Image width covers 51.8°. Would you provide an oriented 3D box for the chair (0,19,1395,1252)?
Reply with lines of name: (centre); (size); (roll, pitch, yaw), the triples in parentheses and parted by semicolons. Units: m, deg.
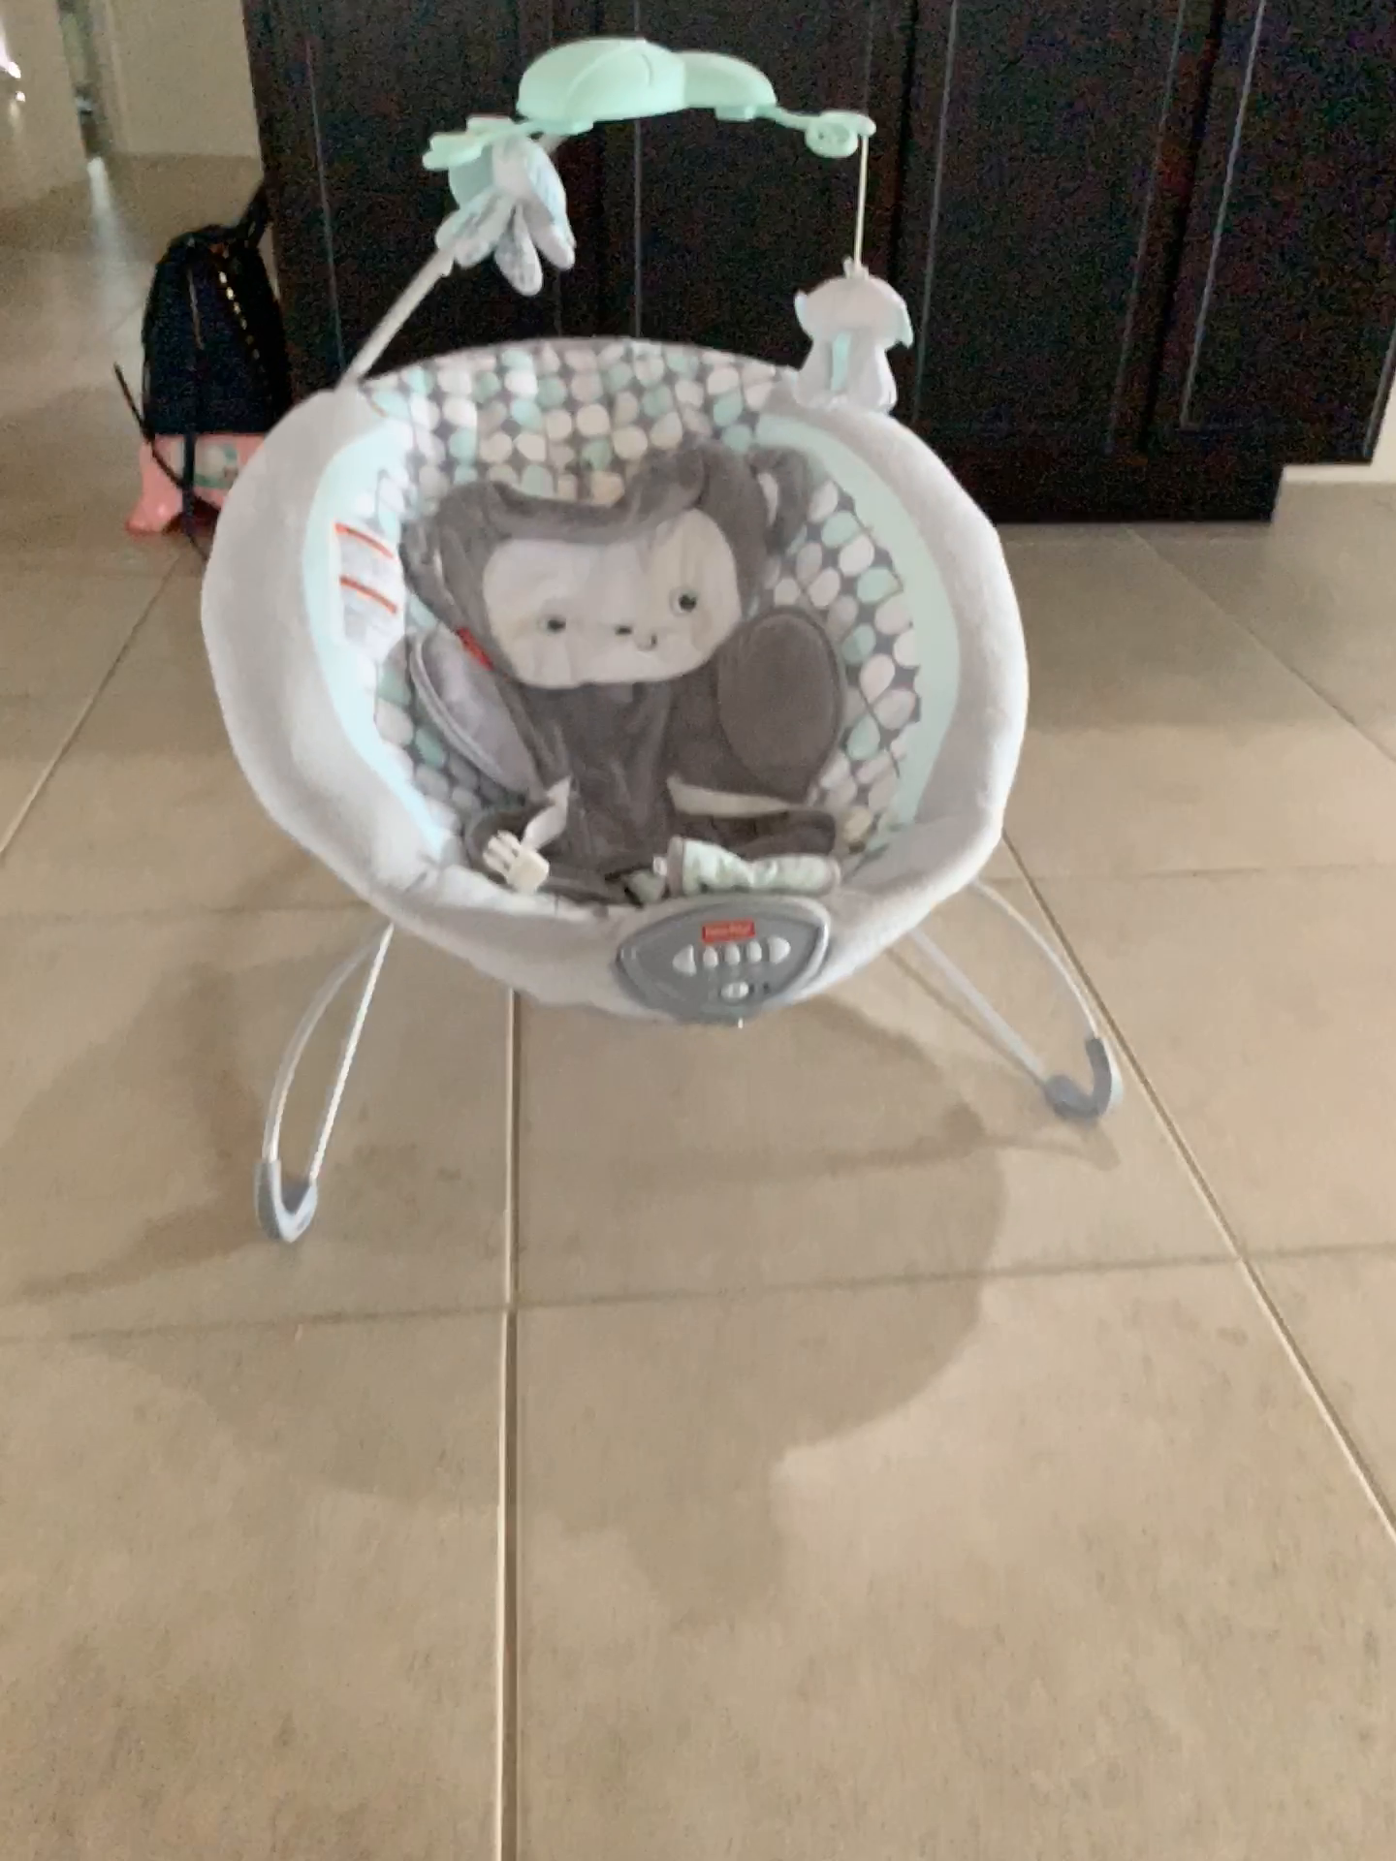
chair: (-0.023, -0.237, 0.924); (0.571, 0.578, 0.549); (-5, 33, -10)
